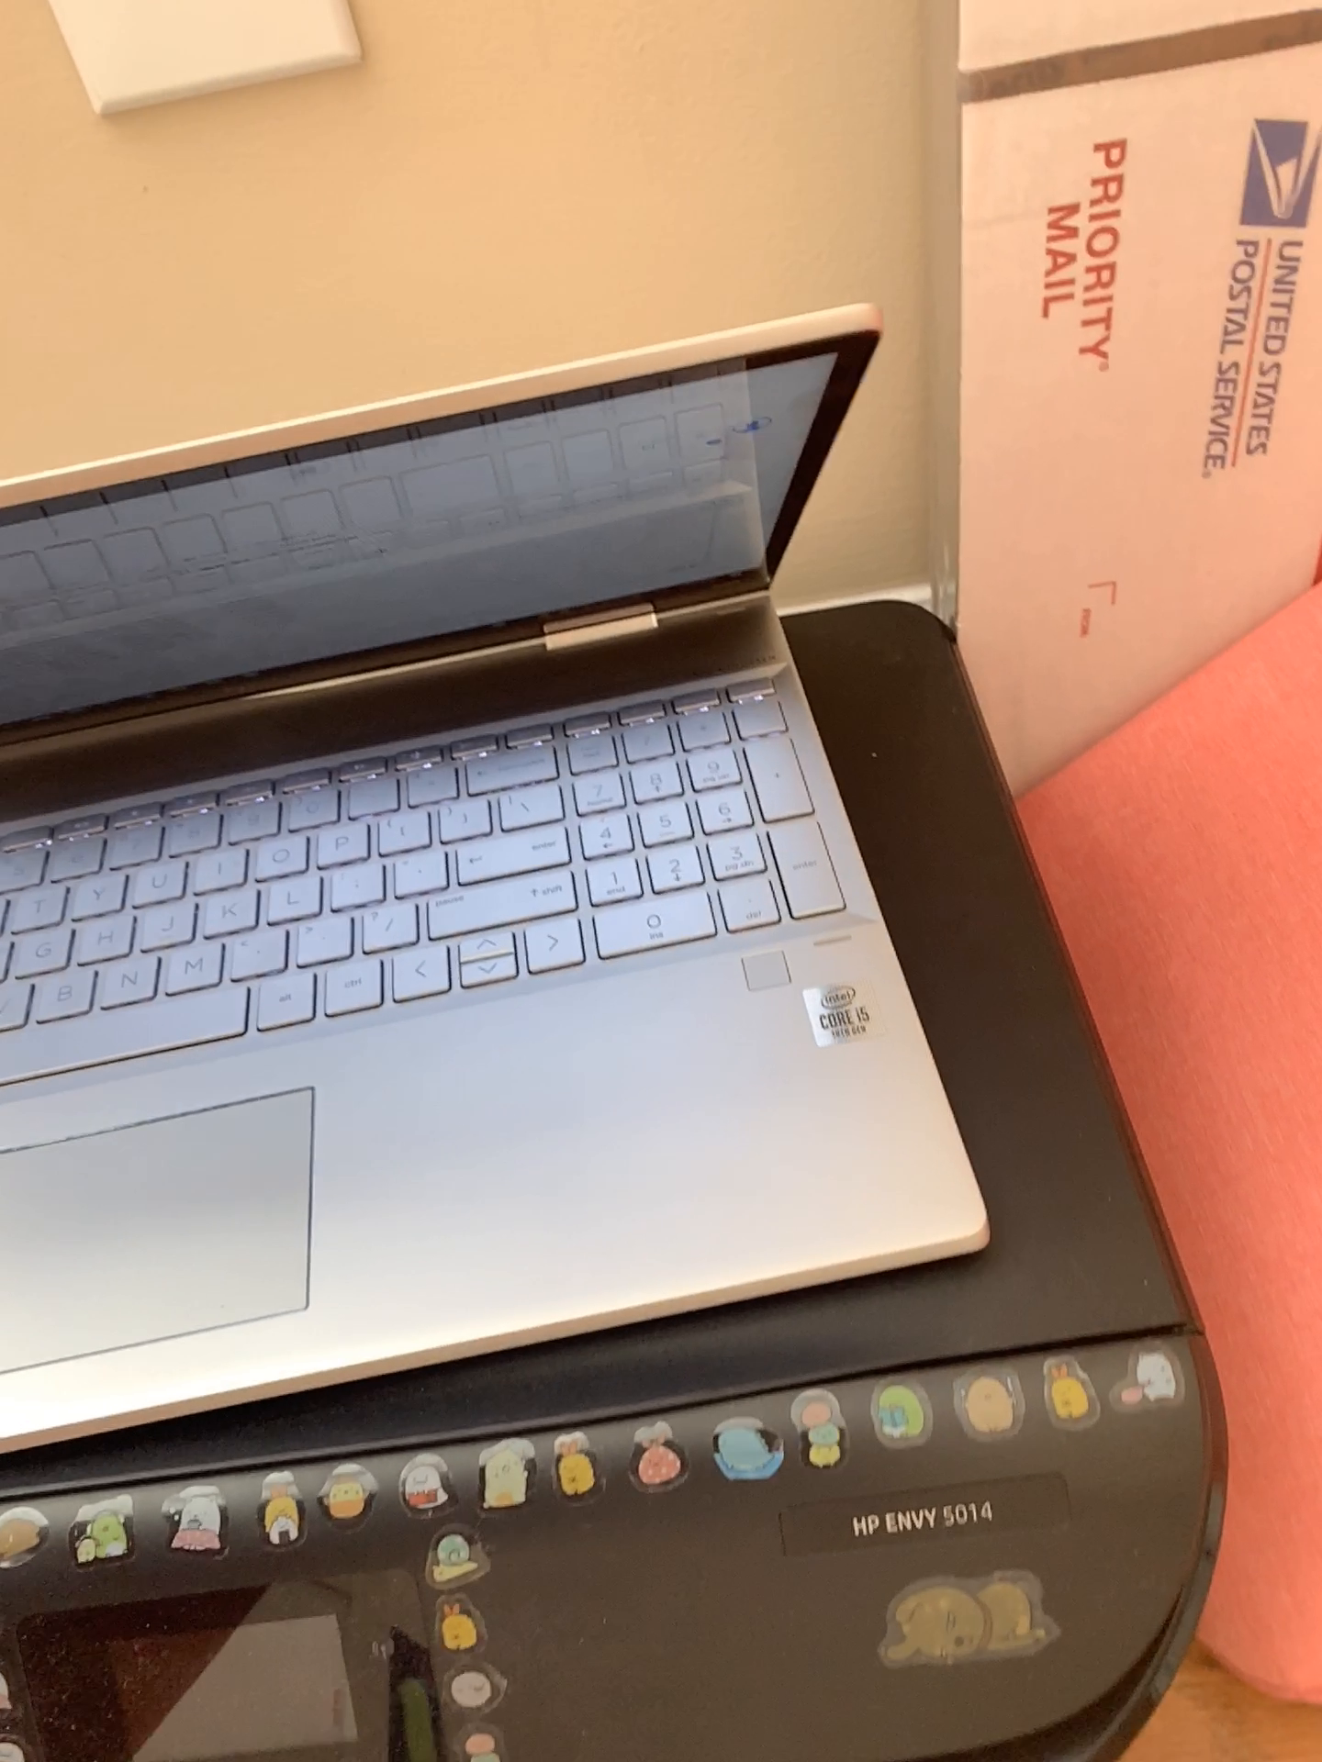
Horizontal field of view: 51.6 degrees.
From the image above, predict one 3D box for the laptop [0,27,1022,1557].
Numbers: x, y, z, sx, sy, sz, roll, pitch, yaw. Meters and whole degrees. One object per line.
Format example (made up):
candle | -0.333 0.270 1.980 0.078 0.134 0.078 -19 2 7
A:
laptop | -0.132 -0.031 0.314 0.350 0.169 0.238 -12 47 0
